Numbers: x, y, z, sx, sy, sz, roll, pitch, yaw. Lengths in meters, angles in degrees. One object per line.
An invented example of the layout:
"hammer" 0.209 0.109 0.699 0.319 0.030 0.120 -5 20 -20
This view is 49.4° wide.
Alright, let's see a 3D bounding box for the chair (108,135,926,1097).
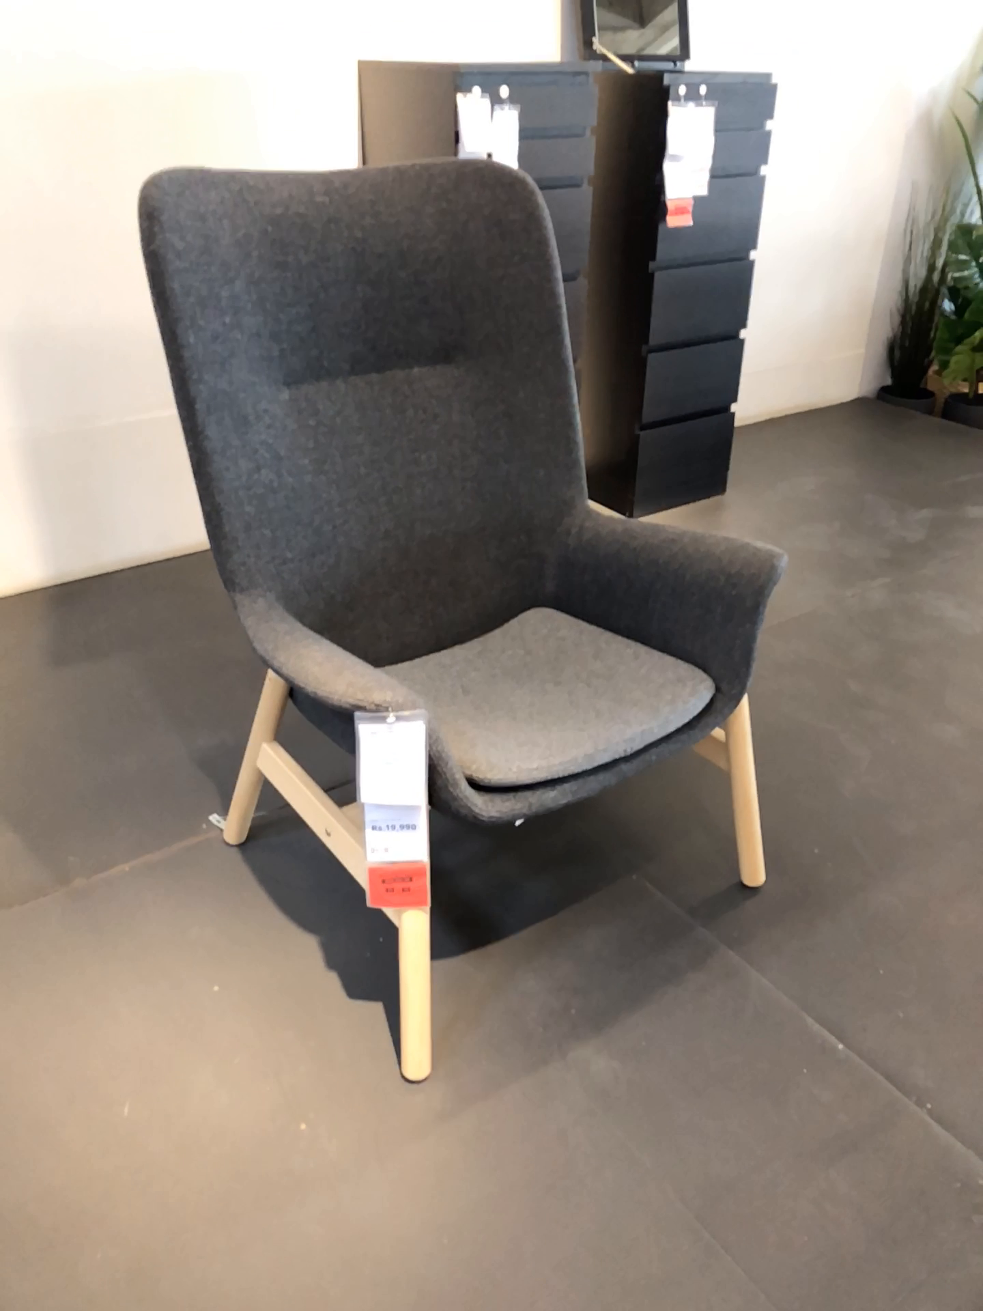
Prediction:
"chair" 0.000 -0.141 1.562 0.722 1.063 0.713 -18 34 -31
